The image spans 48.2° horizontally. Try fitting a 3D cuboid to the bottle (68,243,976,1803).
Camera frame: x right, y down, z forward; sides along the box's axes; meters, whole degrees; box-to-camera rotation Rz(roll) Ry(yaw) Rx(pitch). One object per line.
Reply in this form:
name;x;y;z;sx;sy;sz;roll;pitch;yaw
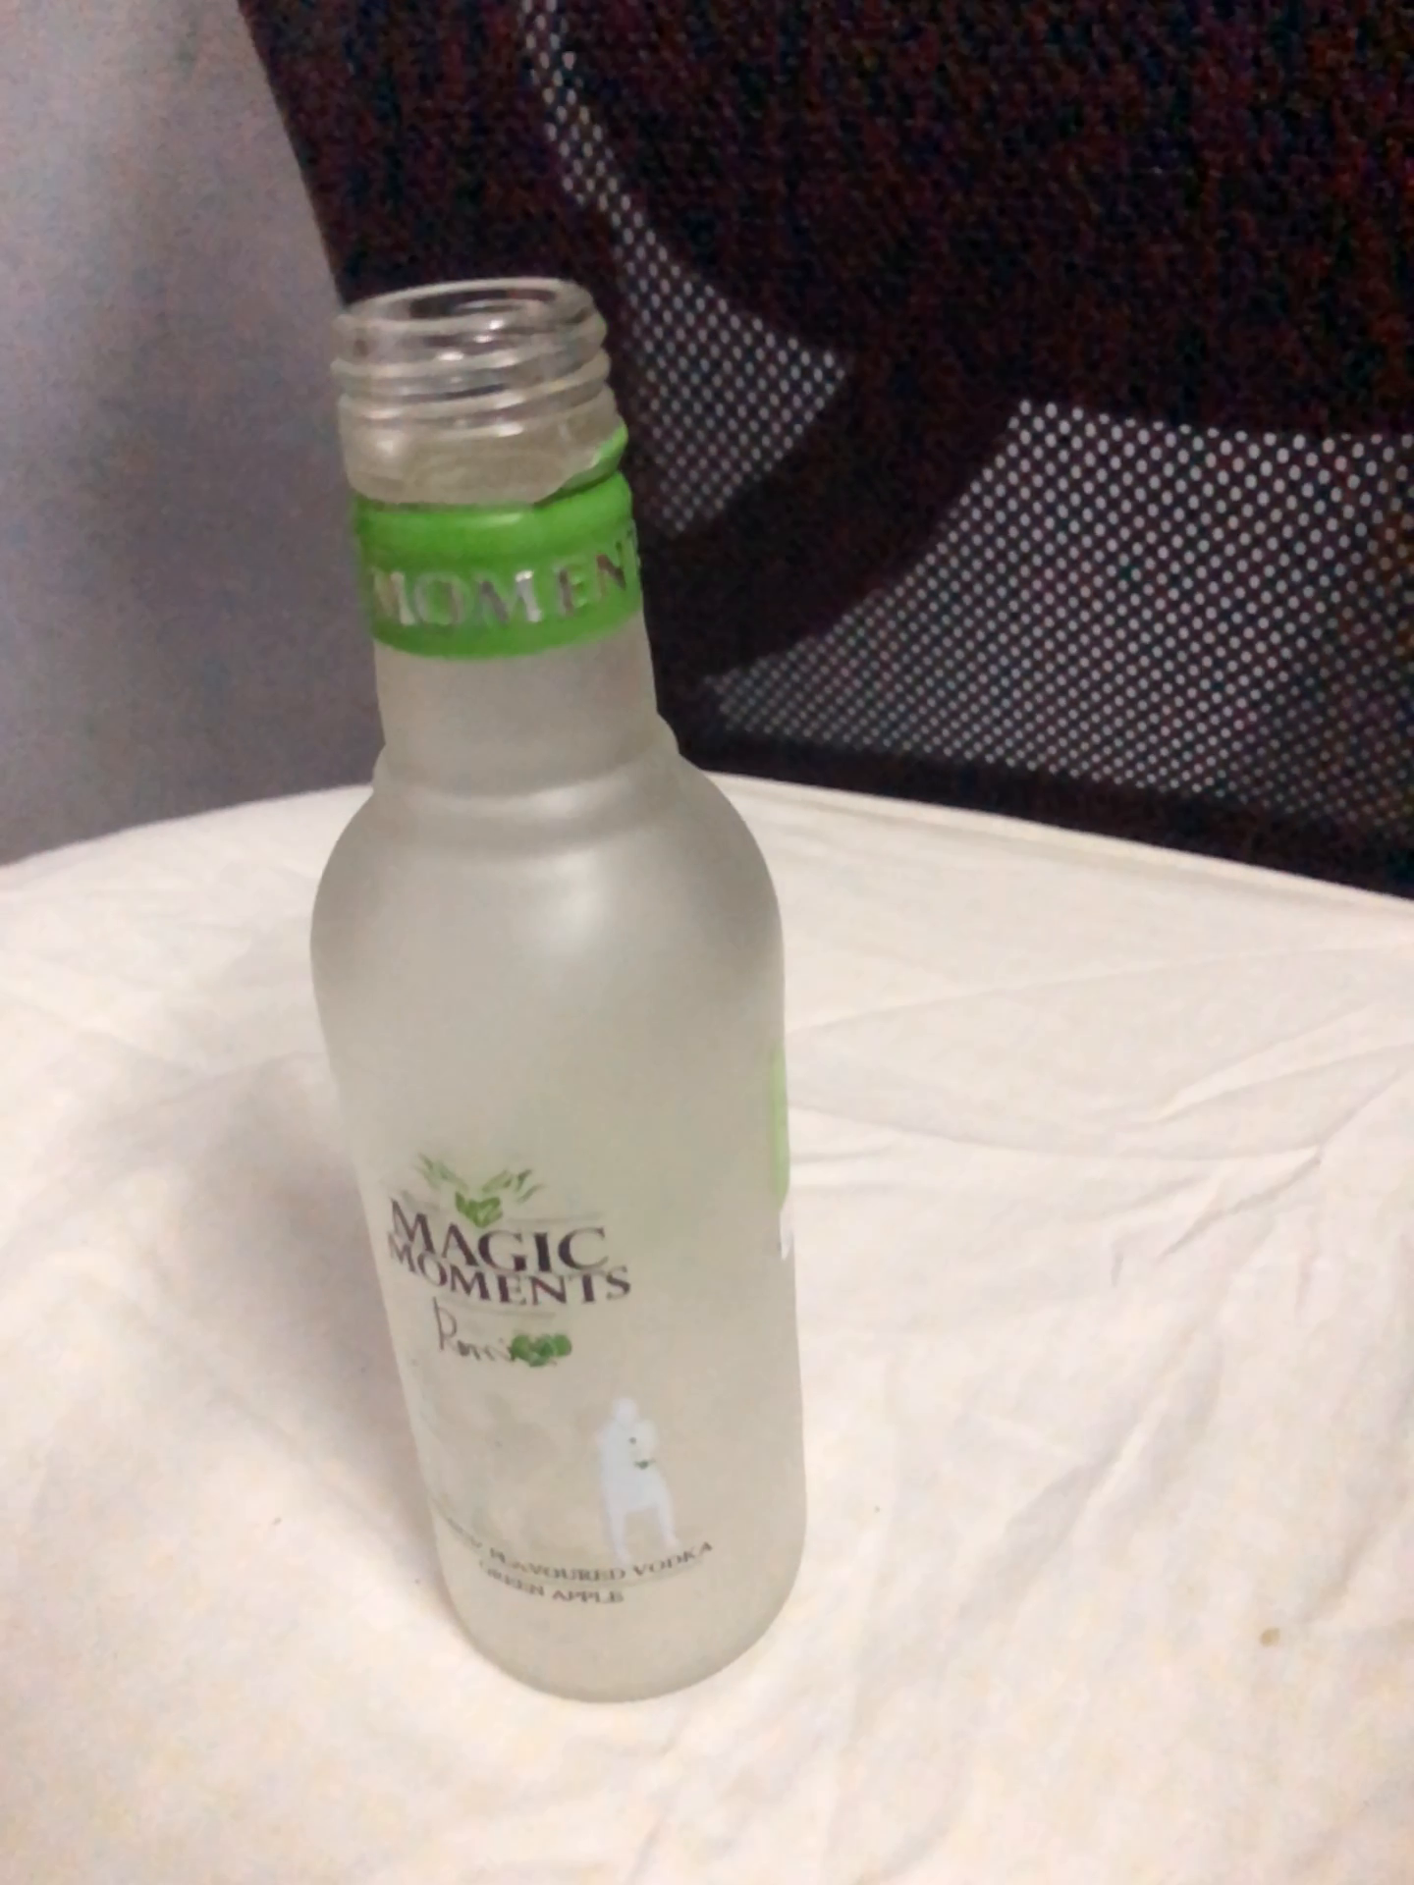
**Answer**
bottle;-0.008;0.017;0.178;0.060;0.169;0.050;9;35;19
